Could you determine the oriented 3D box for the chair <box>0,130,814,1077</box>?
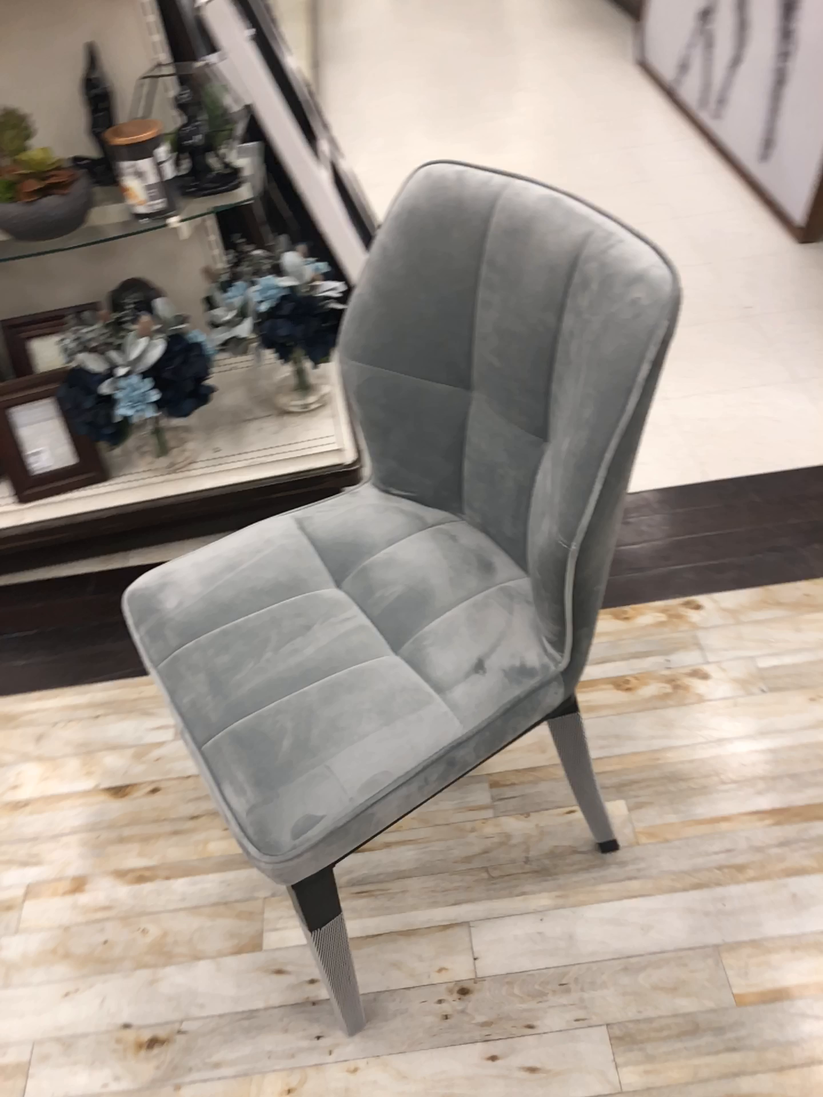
[{"bbox_3d":[-0.012,0.073,1.087,0.570,0.837,0.532,-26,45,-18],"label":"chair"}]
